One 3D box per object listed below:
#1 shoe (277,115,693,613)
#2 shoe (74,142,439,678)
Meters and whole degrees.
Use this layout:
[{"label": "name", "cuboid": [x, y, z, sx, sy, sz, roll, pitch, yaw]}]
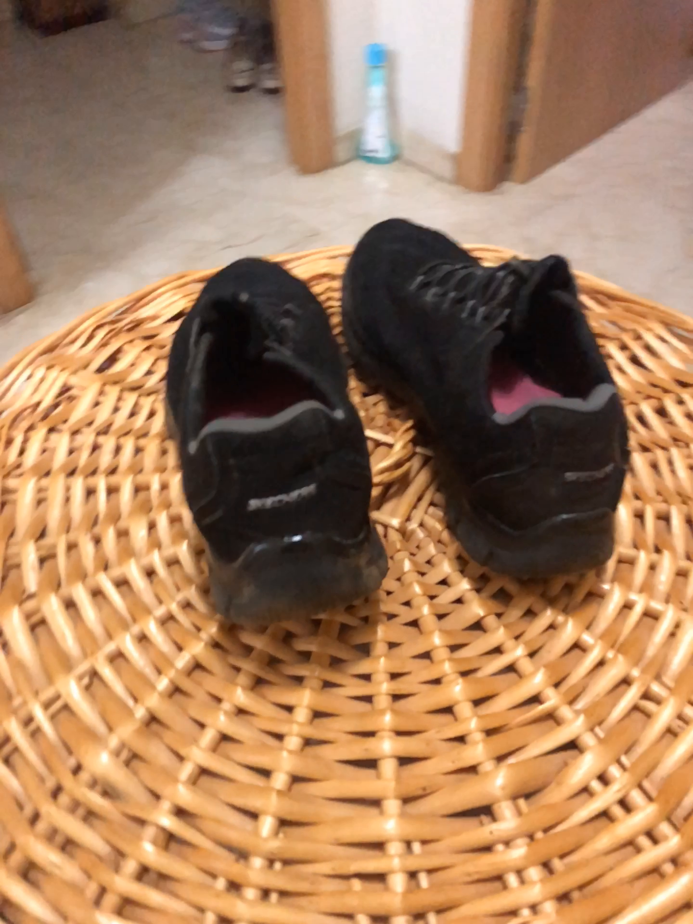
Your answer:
[{"label": "shoe", "cuboid": [0.057, -0.071, 0.383, 0.117, 0.079, 0.265, -14, 49, -10]}, {"label": "shoe", "cuboid": [-0.048, -0.047, 0.362, 0.117, 0.079, 0.265, -9, 48, -5]}]
